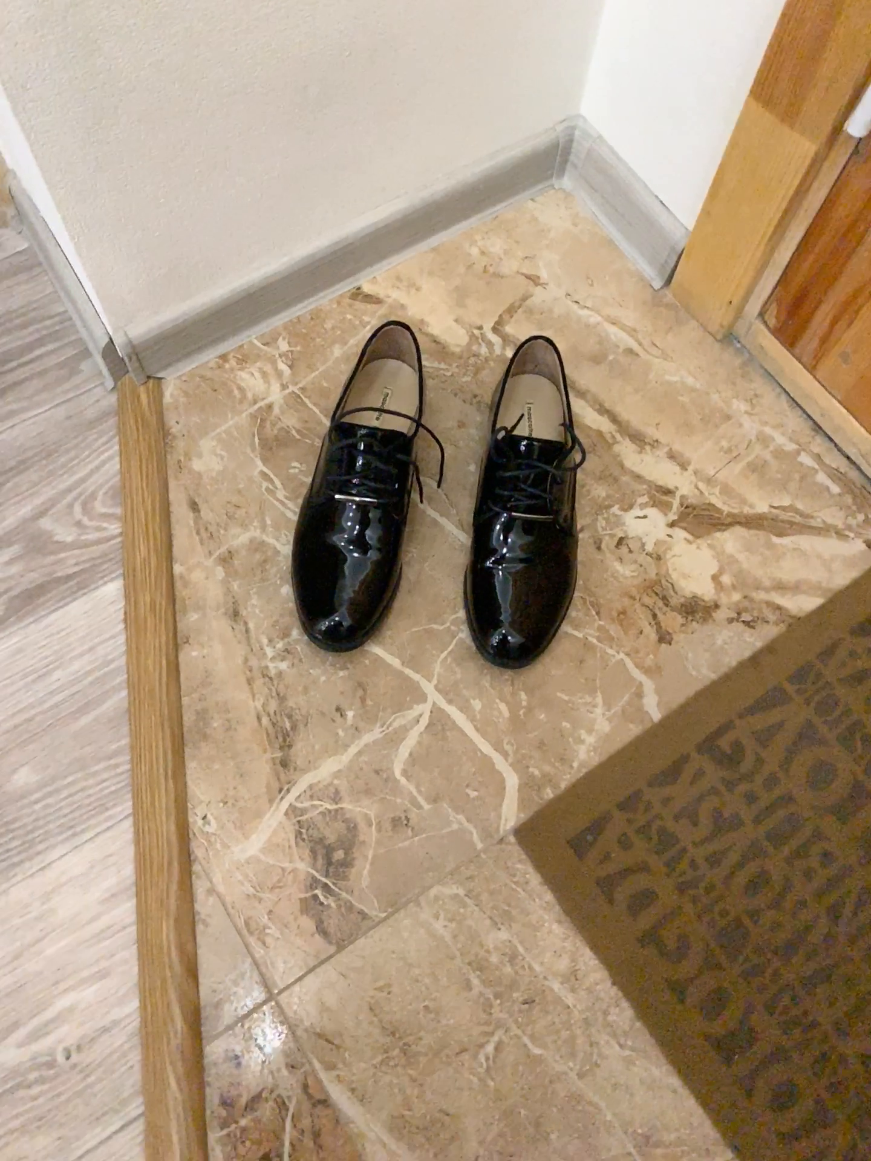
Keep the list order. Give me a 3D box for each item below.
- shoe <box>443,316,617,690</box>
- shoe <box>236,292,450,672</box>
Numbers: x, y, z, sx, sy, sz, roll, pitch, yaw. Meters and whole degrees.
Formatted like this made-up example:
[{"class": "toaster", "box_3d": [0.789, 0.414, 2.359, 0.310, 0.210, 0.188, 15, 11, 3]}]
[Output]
[{"class": "shoe", "box_3d": [0.066, -0.054, 0.633, 0.090, 0.110, 0.230, 7, 67, 0]}, {"class": "shoe", "box_3d": [-0.057, -0.069, 0.630, 0.086, 0.110, 0.230, 12, 67, 2]}]
